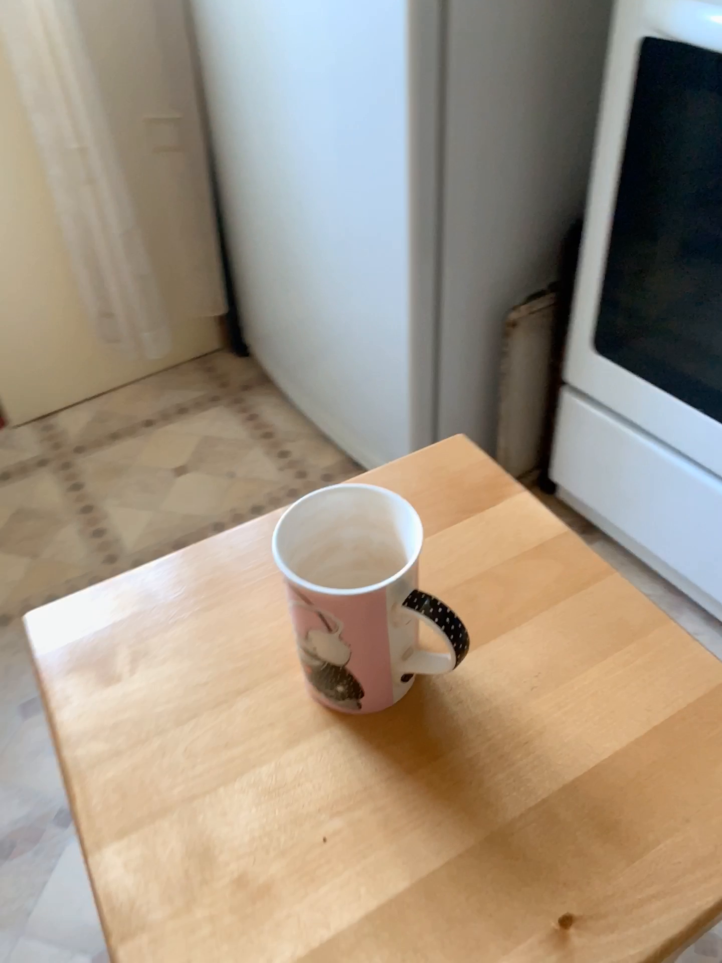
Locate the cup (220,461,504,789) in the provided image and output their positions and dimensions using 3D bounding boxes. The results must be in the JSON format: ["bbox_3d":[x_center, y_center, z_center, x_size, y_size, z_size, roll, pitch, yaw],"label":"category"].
[{"bbox_3d":[0.001,0.070,0.384,0.110,0.099,0.080,30,51,33],"label":"cup"}]
